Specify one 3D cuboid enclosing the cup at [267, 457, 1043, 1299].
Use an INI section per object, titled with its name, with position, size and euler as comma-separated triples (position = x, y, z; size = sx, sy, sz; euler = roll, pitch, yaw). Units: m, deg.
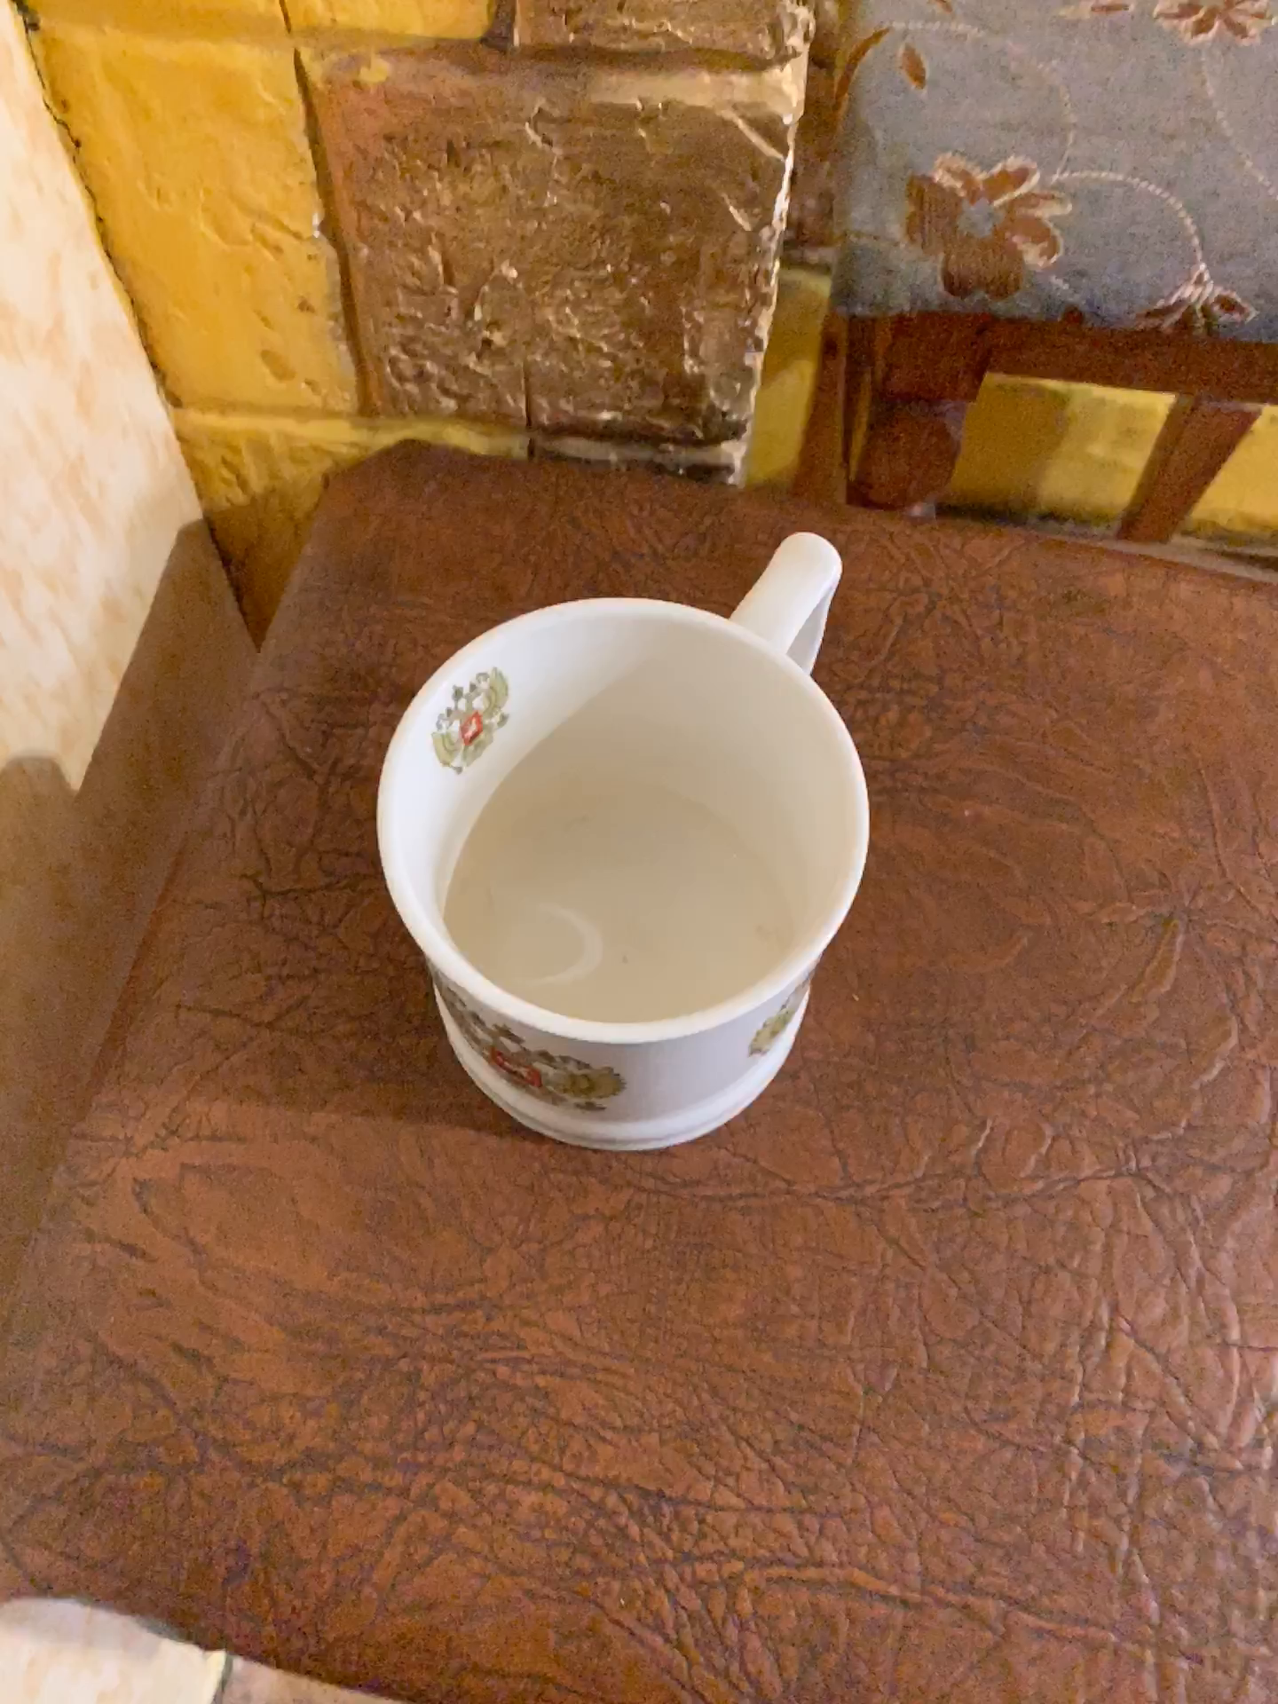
[cup]
position = 0.007, 0.008, 0.290
size = 0.099, 0.098, 0.127
euler = 25, 64, 11
